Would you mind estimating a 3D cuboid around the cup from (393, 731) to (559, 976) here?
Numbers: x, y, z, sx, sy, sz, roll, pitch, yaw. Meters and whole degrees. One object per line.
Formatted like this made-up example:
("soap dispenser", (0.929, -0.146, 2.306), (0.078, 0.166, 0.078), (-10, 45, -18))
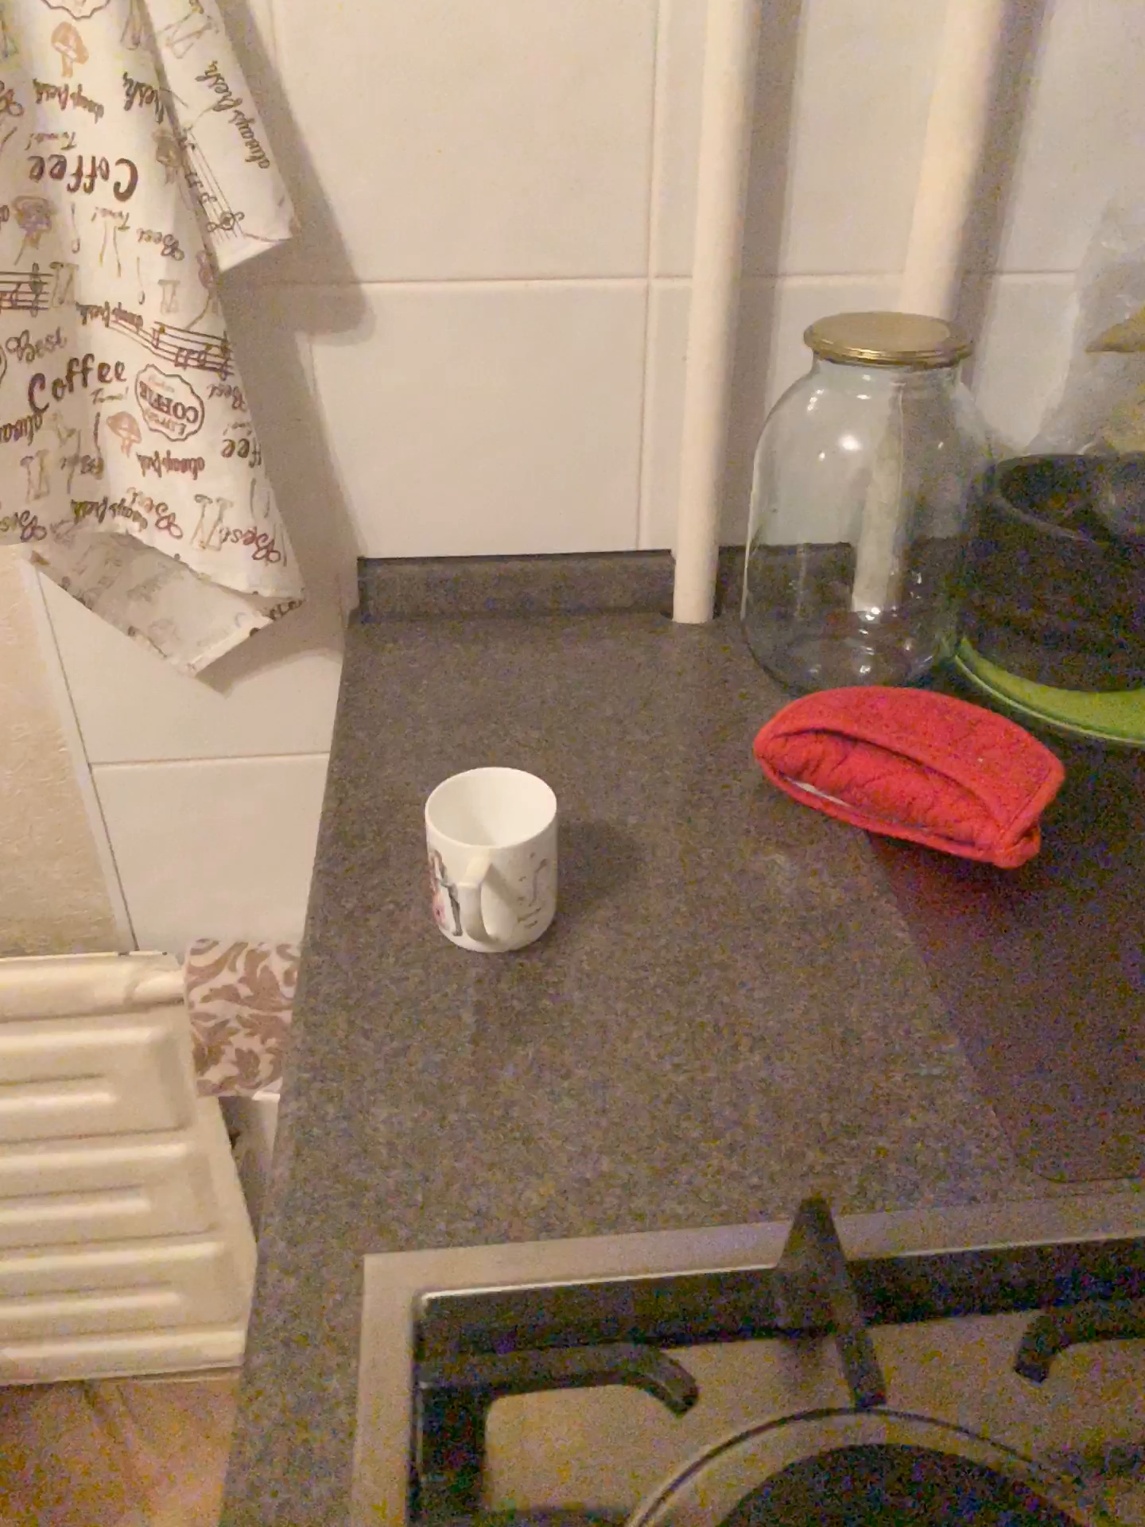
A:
("cup", (-0.039, 0.037, 0.507), (0.064, 0.061, 0.090), (-1, 34, -2))
